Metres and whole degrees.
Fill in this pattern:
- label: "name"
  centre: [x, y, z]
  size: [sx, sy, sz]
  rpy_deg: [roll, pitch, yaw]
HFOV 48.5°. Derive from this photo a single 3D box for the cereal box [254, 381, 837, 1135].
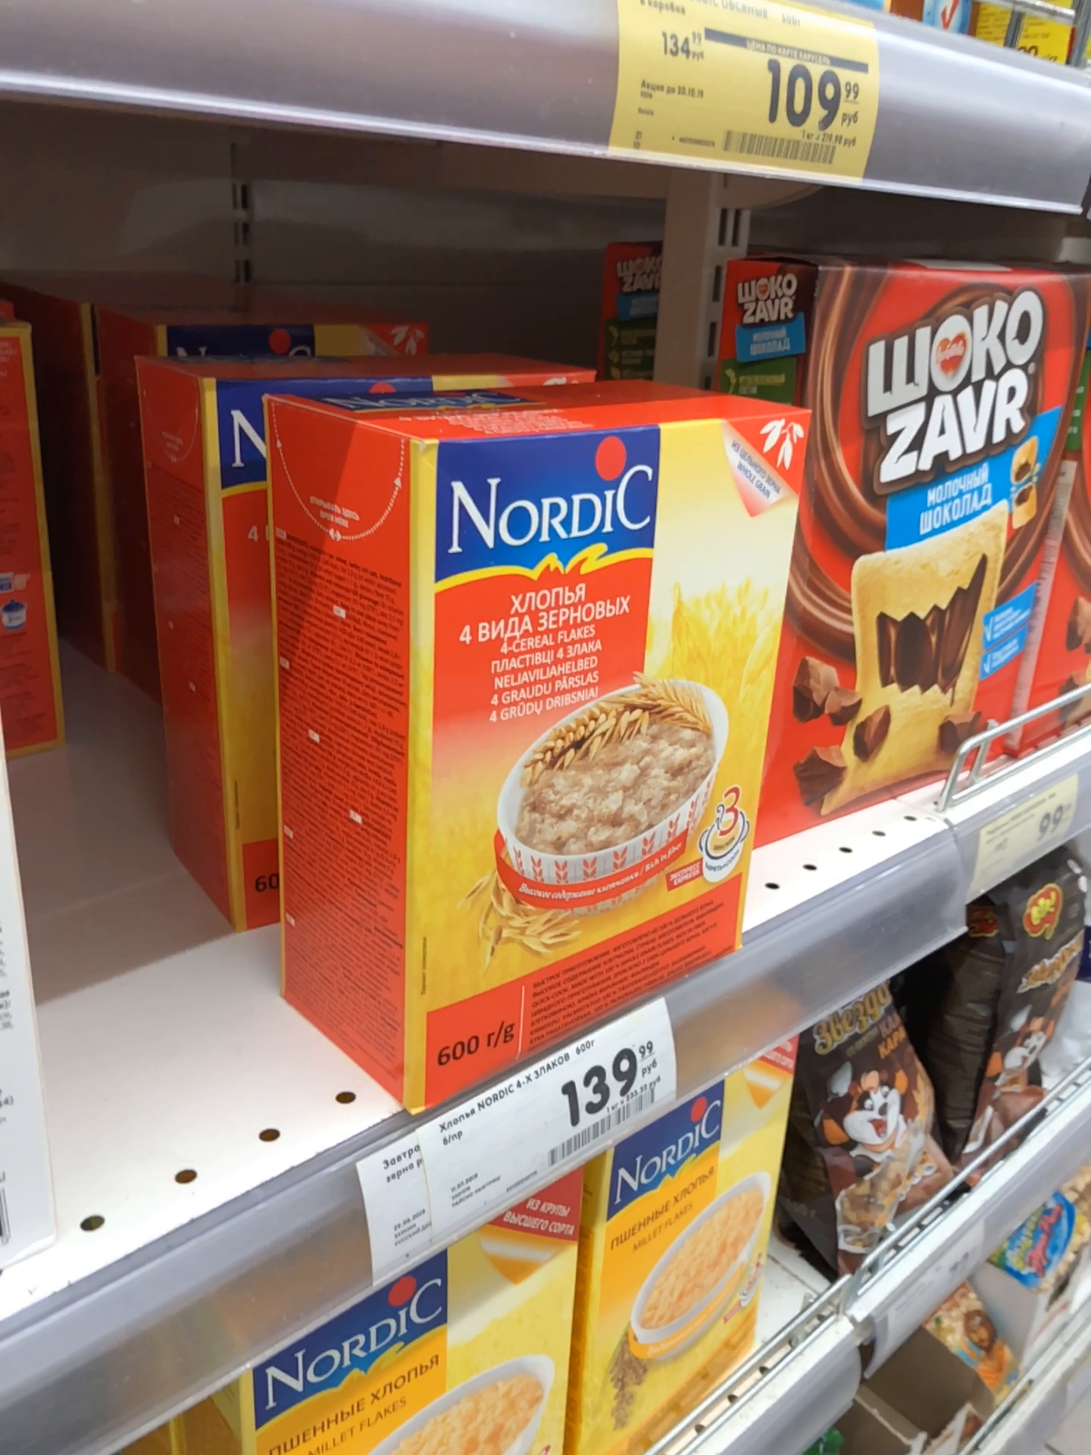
- label: "cereal box"
  centre: [0.000, -0.003, 0.378]
  size: [0.150, 0.189, 0.080]
  rpy_deg: [-16, 28, -39]
